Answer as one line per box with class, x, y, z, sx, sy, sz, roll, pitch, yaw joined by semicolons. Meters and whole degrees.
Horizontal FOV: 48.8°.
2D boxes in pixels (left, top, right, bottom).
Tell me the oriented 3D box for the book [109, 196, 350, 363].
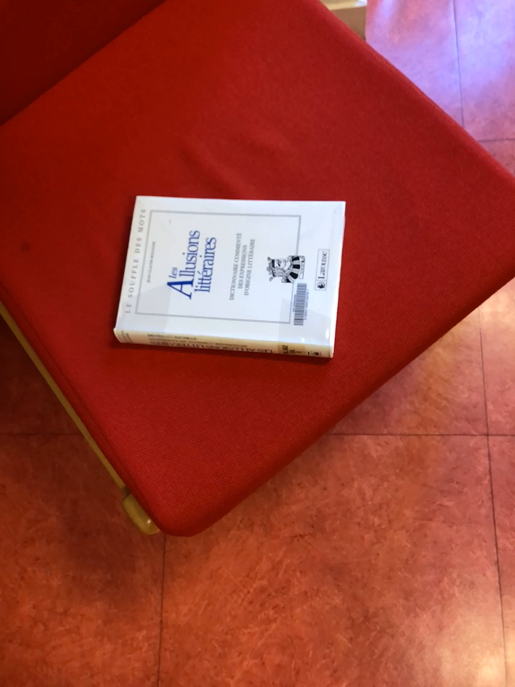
book;-0.025;-0.065;0.554;0.217;0.030;0.150;4;78;8
